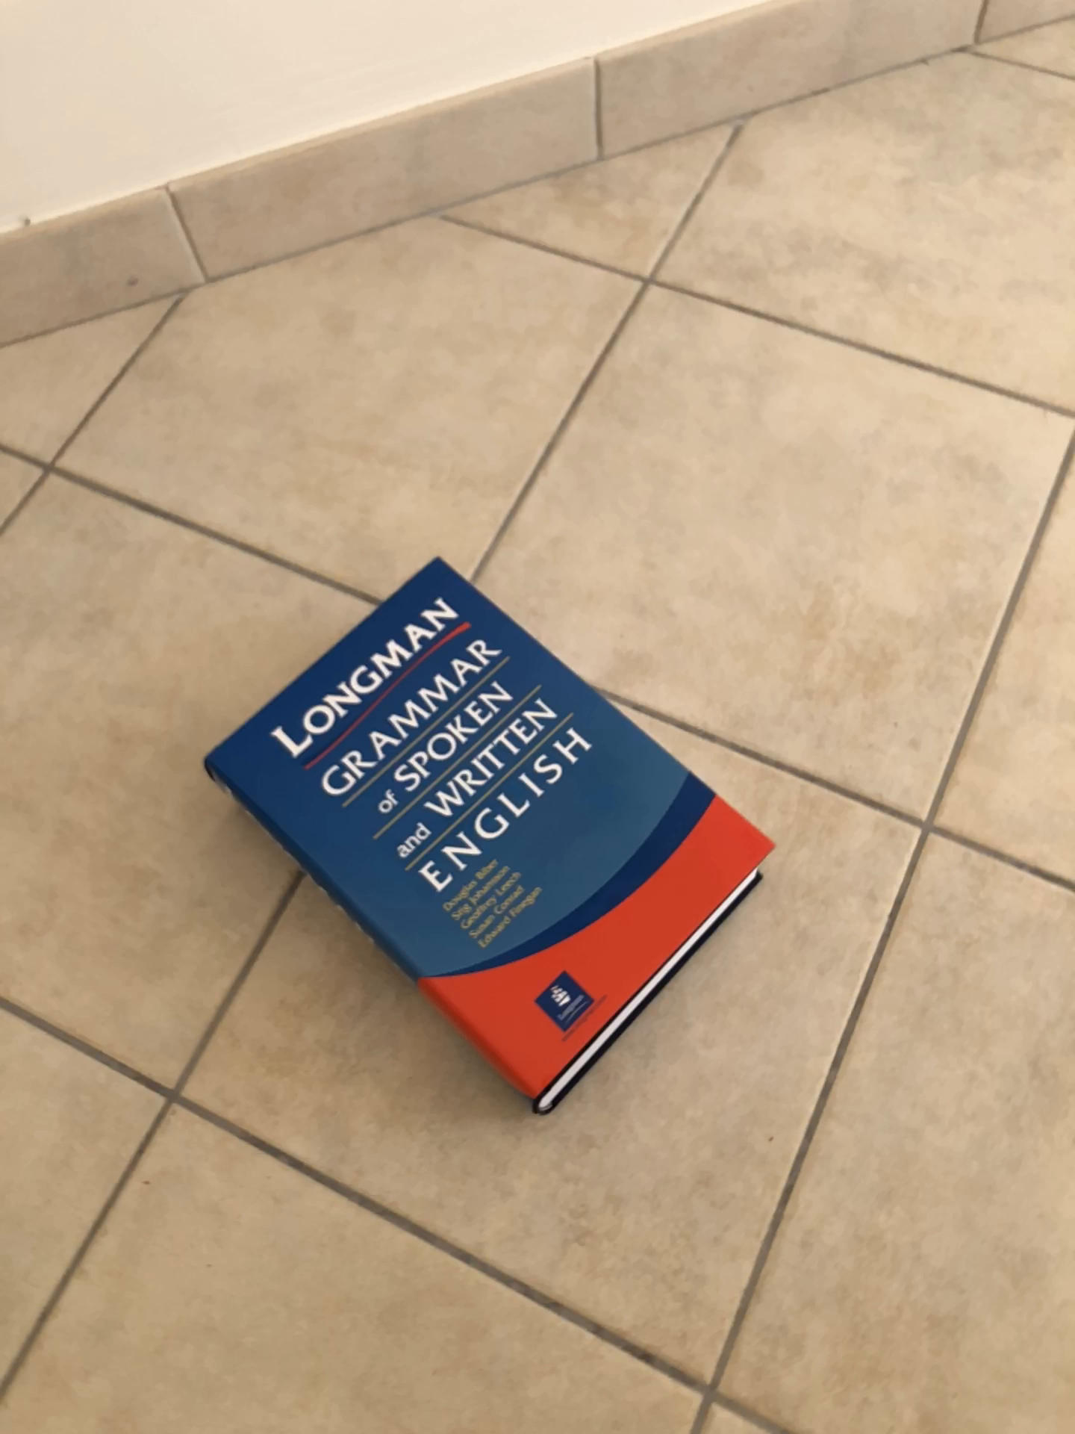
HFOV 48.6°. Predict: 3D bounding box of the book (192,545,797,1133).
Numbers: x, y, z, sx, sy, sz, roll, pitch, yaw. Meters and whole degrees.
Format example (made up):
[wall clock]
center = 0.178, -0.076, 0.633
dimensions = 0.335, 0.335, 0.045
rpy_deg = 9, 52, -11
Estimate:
[book]
center = -0.024, 0.054, 0.618
dimensions = 0.250, 0.060, 0.177
rpy_deg = 41, 74, 20
